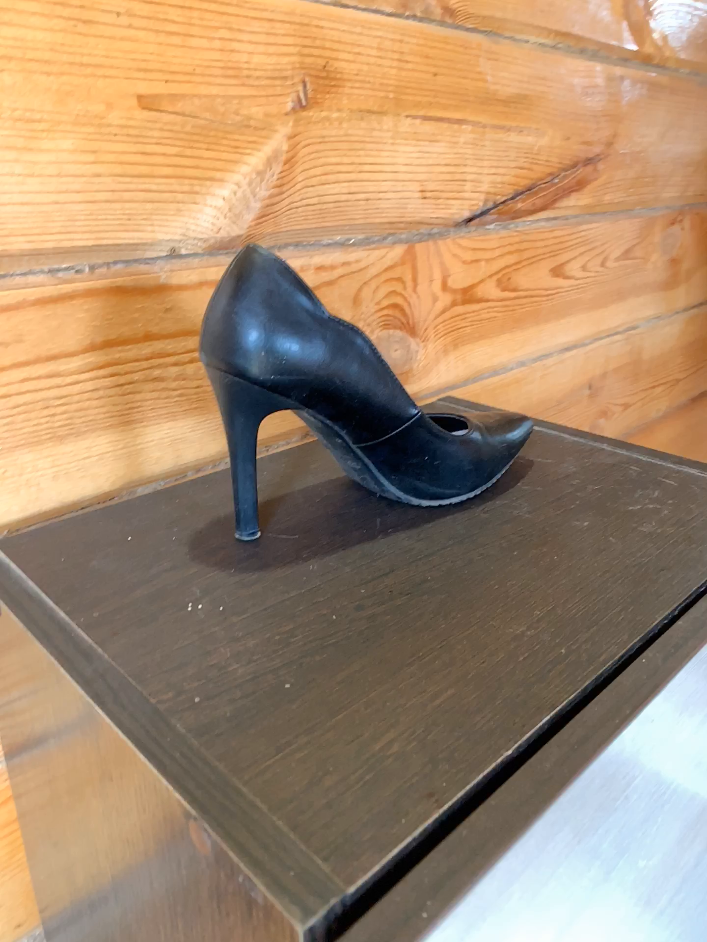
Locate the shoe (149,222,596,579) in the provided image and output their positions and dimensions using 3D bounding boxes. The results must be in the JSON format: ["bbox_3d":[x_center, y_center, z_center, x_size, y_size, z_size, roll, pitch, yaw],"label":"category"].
[{"bbox_3d":[0.016,-0.057,0.413,0.221,0.149,0.100,-14,25,-30],"label":"shoe"}]
